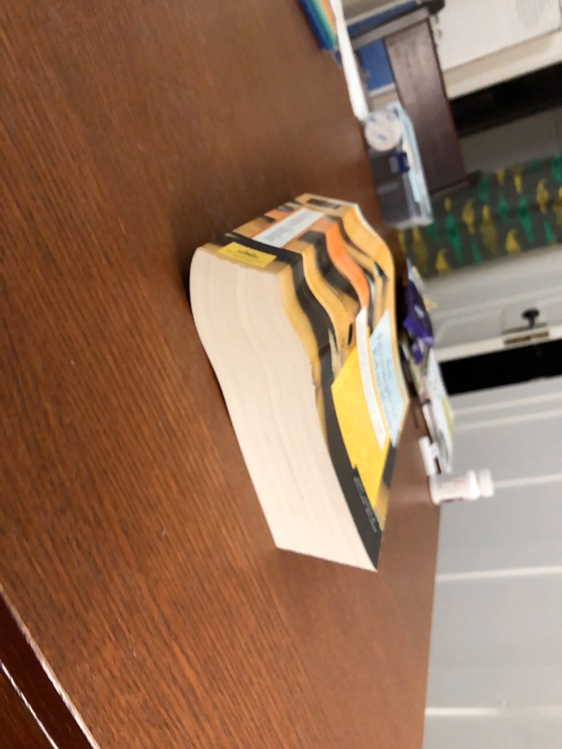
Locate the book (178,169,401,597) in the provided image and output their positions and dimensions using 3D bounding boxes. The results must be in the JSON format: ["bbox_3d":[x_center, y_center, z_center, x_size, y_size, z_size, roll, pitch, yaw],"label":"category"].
[{"bbox_3d":[0.031,-0.017,0.444,0.251,0.060,0.210,-56,140,-60],"label":"book"}]
